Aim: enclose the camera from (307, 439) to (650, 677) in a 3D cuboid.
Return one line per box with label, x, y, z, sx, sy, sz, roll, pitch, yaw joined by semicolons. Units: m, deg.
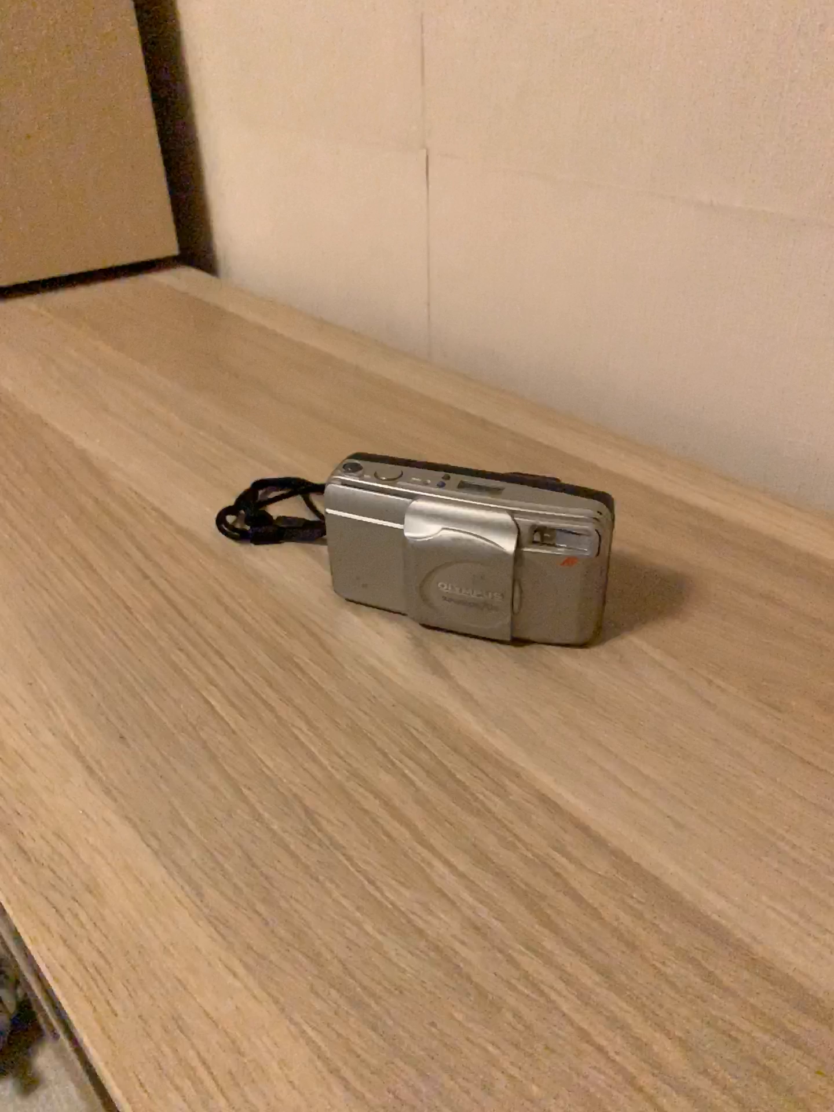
camera;0.024;-0.002;0.353;0.126;0.059;0.046;11;36;18
